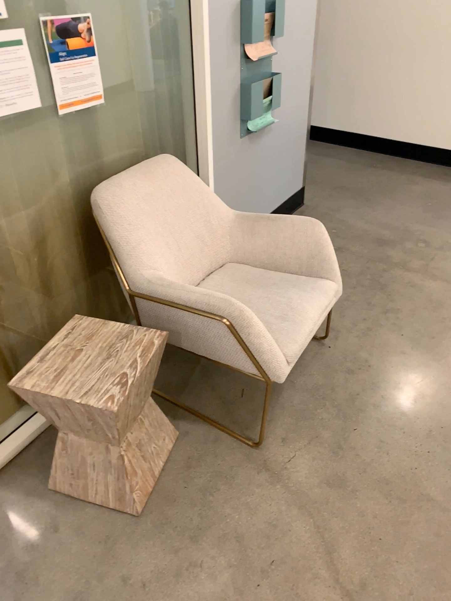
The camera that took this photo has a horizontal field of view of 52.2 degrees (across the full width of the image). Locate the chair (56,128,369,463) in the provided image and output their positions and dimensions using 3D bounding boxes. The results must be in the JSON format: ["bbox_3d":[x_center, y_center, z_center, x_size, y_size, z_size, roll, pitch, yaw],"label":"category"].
[{"bbox_3d":[0.005,-0.090,1.795,0.772,0.865,0.783,16,38,23],"label":"chair"}]
